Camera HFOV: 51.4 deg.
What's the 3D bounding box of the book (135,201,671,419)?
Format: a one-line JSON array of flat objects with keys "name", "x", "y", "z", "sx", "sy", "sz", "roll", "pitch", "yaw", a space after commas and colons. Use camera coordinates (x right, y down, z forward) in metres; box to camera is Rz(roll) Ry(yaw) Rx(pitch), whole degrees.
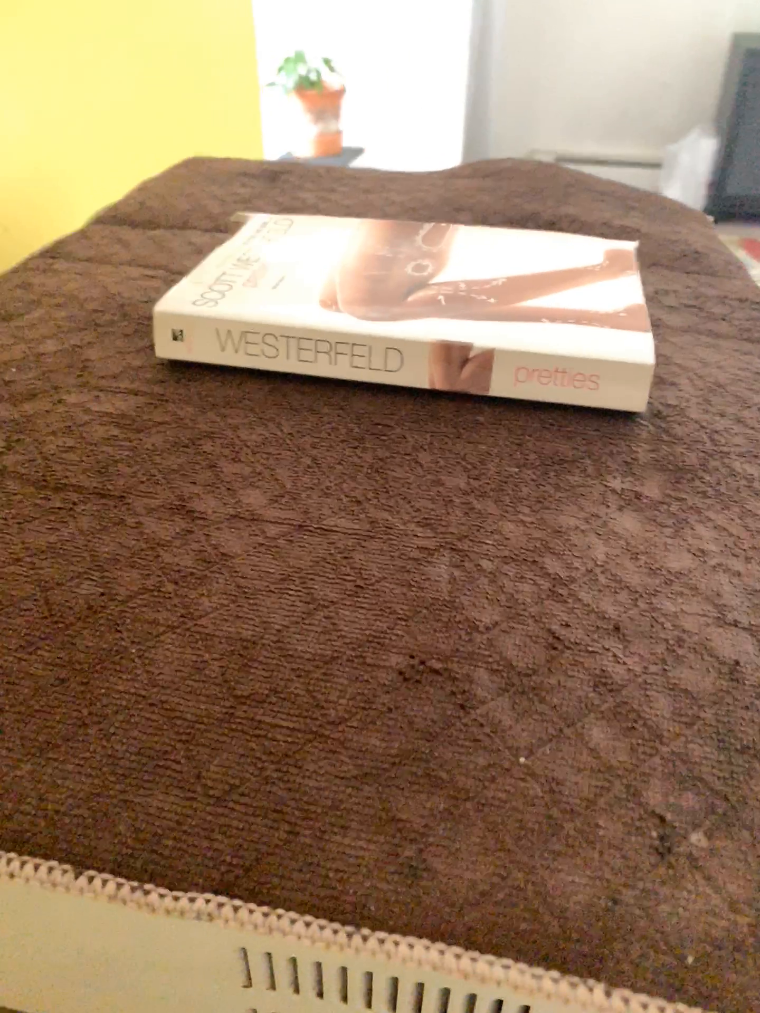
[{"name": "book", "x": 0.018, "y": -0.106, "z": 0.388, "sx": 0.220, "sy": 0.030, "sz": 0.151, "roll": 8, "pitch": 37, "yaw": 8}]
